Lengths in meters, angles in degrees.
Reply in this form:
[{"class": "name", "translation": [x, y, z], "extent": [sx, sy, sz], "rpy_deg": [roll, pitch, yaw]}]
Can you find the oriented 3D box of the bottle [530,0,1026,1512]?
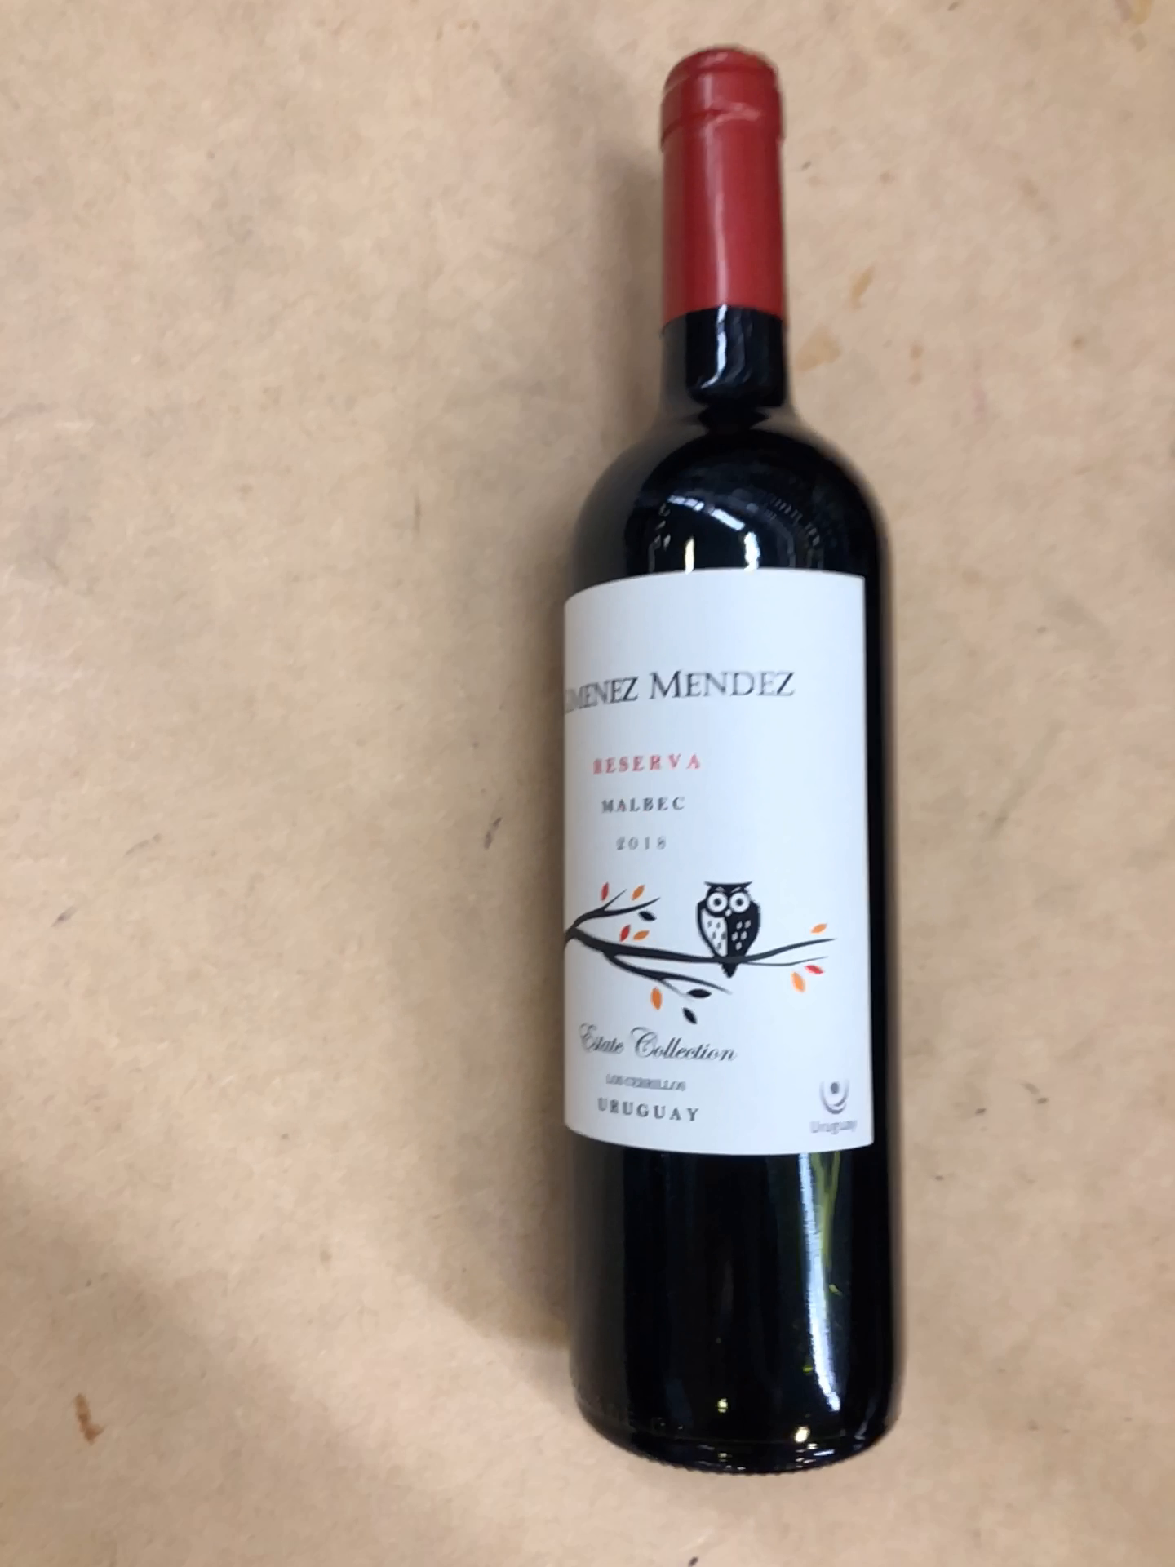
[{"class": "bottle", "translation": [0.036, -0.026, 0.278], "extent": [0.080, 0.060, 0.310], "rpy_deg": [1, 87, -21]}]
